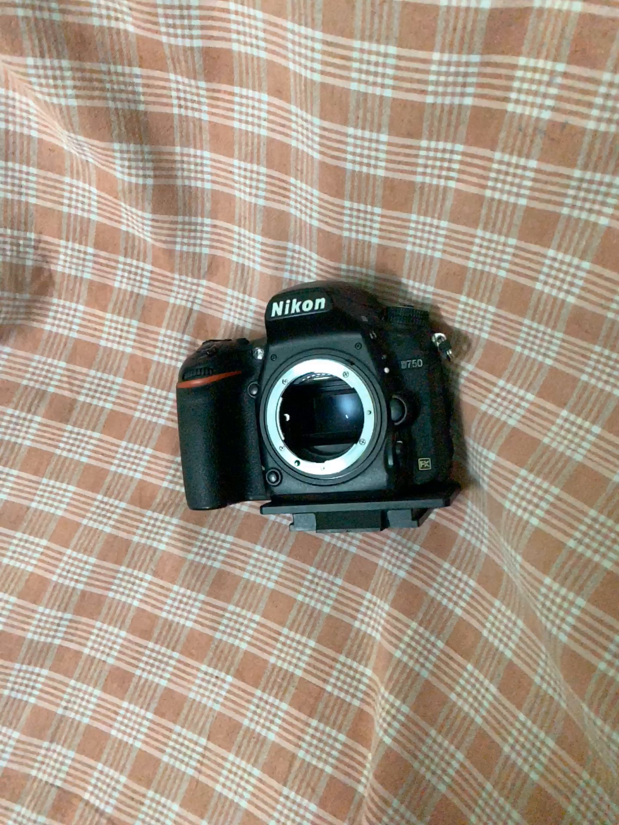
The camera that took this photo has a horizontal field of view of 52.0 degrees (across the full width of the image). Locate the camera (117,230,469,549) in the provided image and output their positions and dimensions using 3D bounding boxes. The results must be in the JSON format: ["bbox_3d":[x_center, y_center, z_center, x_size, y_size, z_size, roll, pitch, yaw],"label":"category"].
[{"bbox_3d":[-0.003,-0.006,0.320,0.145,0.085,0.125,-6,91,18],"label":"camera"}]
